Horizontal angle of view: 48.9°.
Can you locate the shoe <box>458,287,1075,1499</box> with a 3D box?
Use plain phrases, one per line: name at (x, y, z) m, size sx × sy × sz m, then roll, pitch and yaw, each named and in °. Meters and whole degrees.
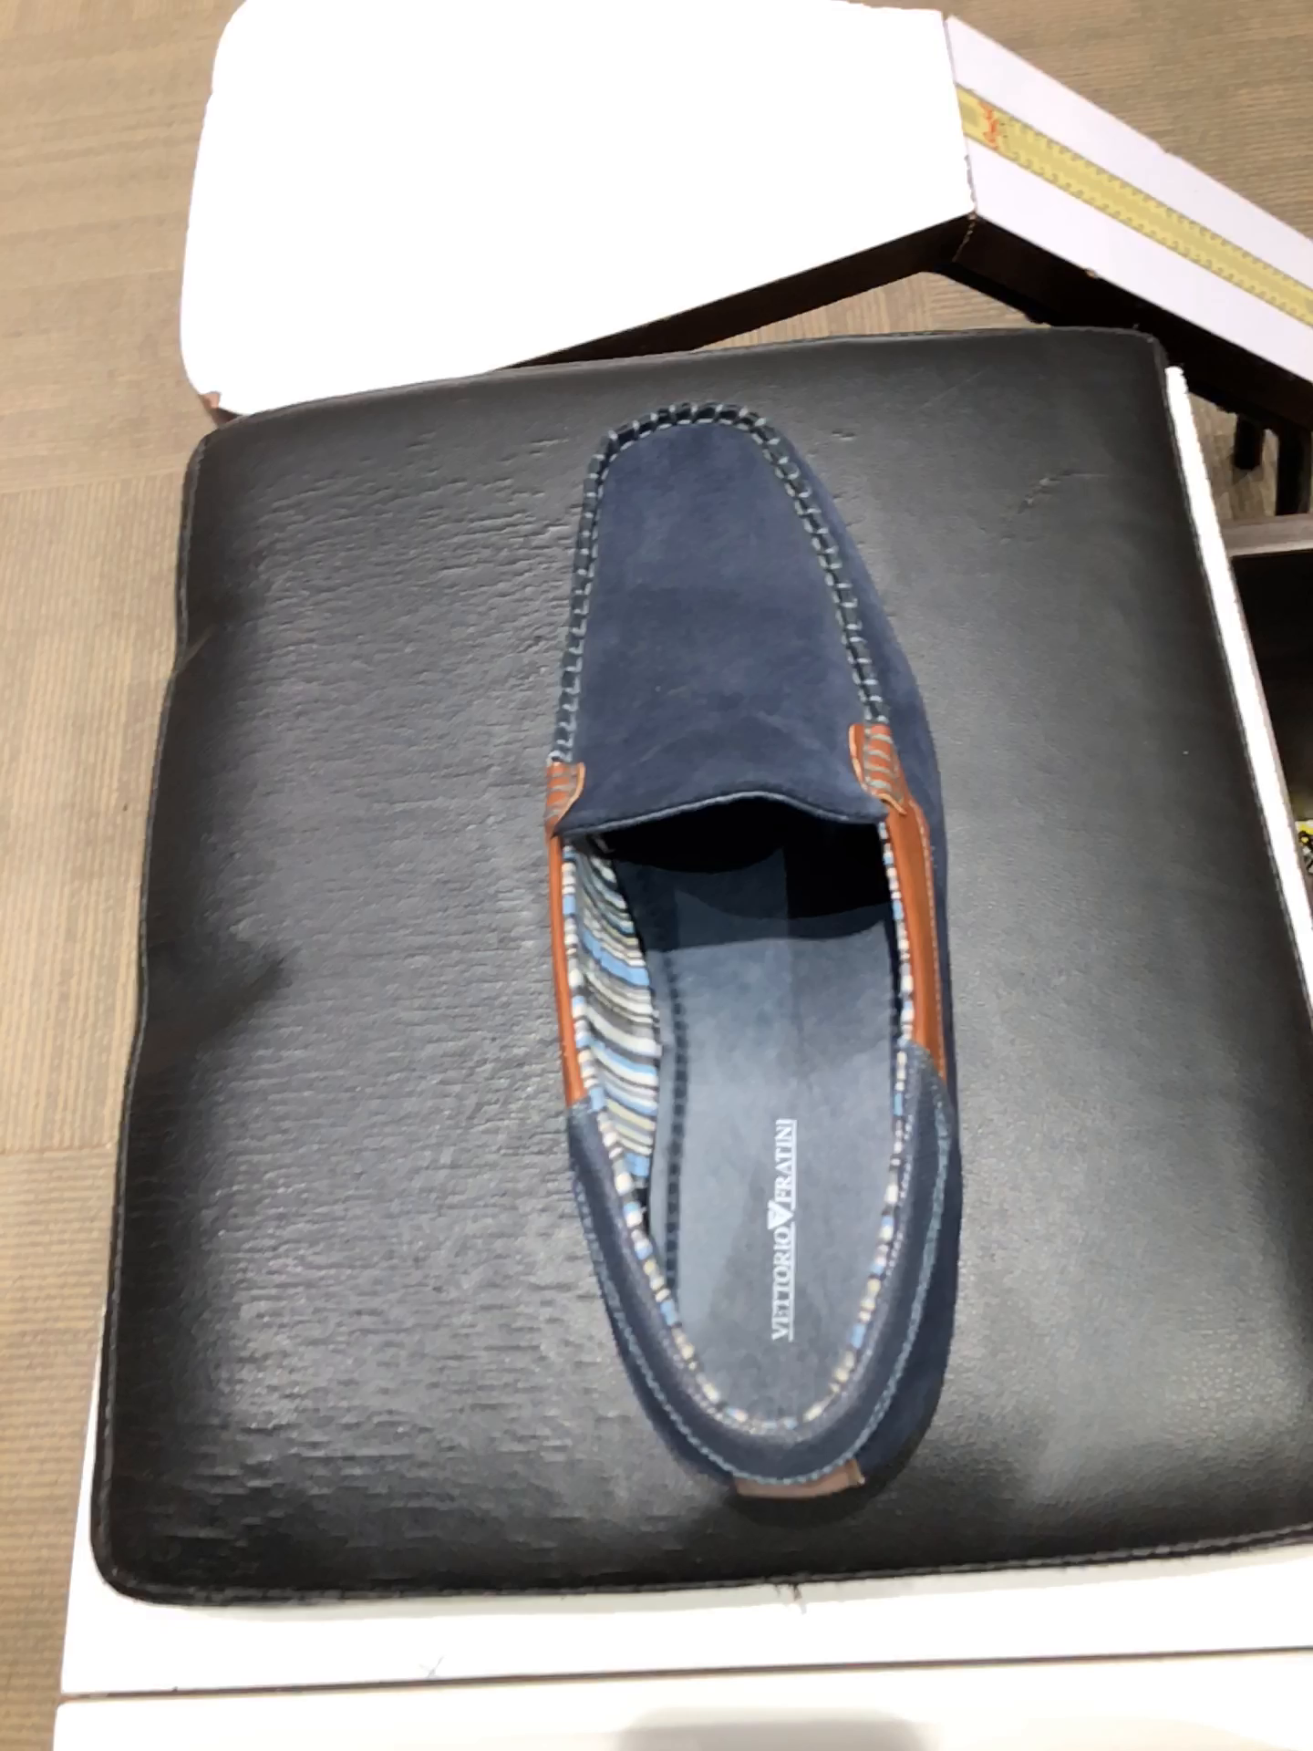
shoe at (0.018, 0.000, 0.381) m, size 0.110 × 0.100 × 0.292 m, roll -7°, pitch 67°, yaw 4°
